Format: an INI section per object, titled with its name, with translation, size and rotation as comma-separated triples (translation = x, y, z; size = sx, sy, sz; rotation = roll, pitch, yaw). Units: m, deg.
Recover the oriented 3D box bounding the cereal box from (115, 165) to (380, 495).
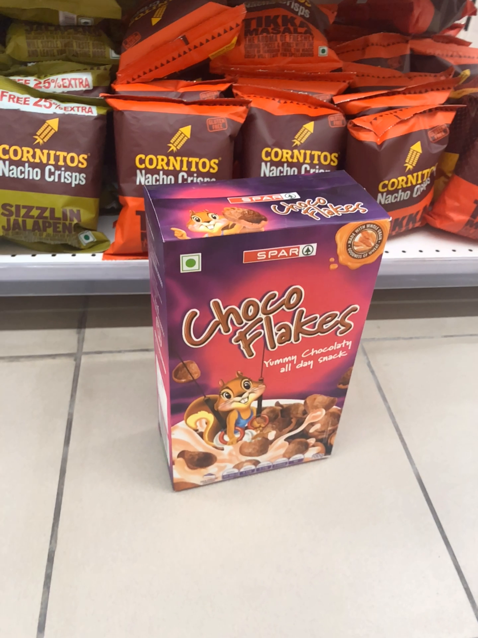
[cereal box]
translation = -0.005, 0.028, 0.547
size = 0.200, 0.339, 0.090
rotation = -9, 43, -15
